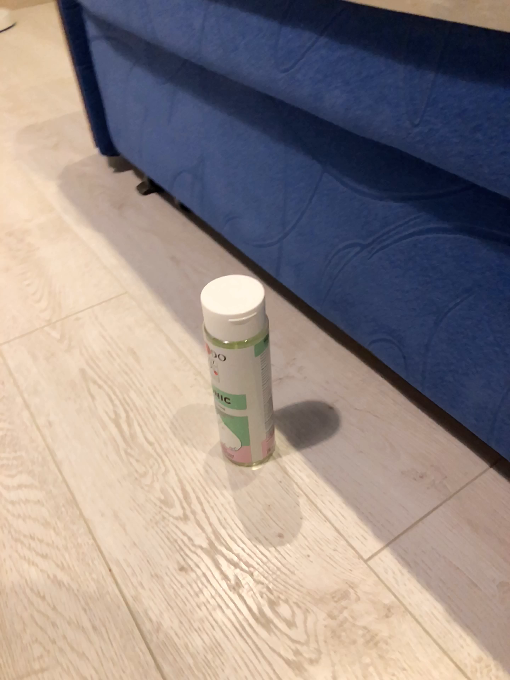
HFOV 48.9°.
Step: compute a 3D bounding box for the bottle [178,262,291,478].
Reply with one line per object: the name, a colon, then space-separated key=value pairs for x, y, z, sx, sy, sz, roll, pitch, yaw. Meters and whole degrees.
bottle: x=-0.011 y=0.028 z=0.439 sx=0.053 sy=0.160 sz=0.057 roll=-2 pitch=41 yaw=2
